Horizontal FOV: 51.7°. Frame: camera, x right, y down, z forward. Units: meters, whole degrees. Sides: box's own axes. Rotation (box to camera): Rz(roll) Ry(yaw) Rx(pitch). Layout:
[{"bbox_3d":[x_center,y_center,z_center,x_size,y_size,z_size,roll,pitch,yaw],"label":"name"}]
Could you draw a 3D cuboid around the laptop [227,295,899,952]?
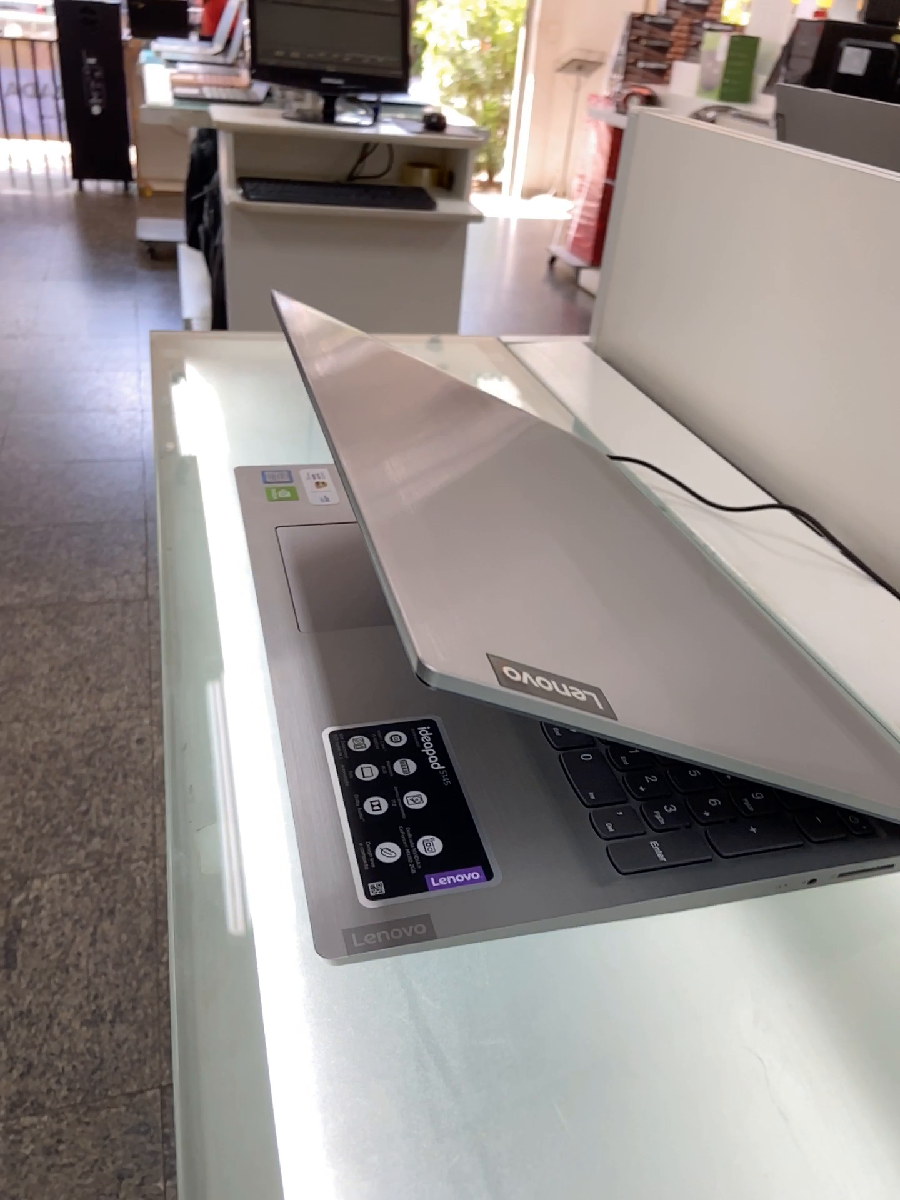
[{"bbox_3d":[0.033,-0.040,0.433,0.239,0.103,0.355,-4,33,-16],"label":"laptop"}]
